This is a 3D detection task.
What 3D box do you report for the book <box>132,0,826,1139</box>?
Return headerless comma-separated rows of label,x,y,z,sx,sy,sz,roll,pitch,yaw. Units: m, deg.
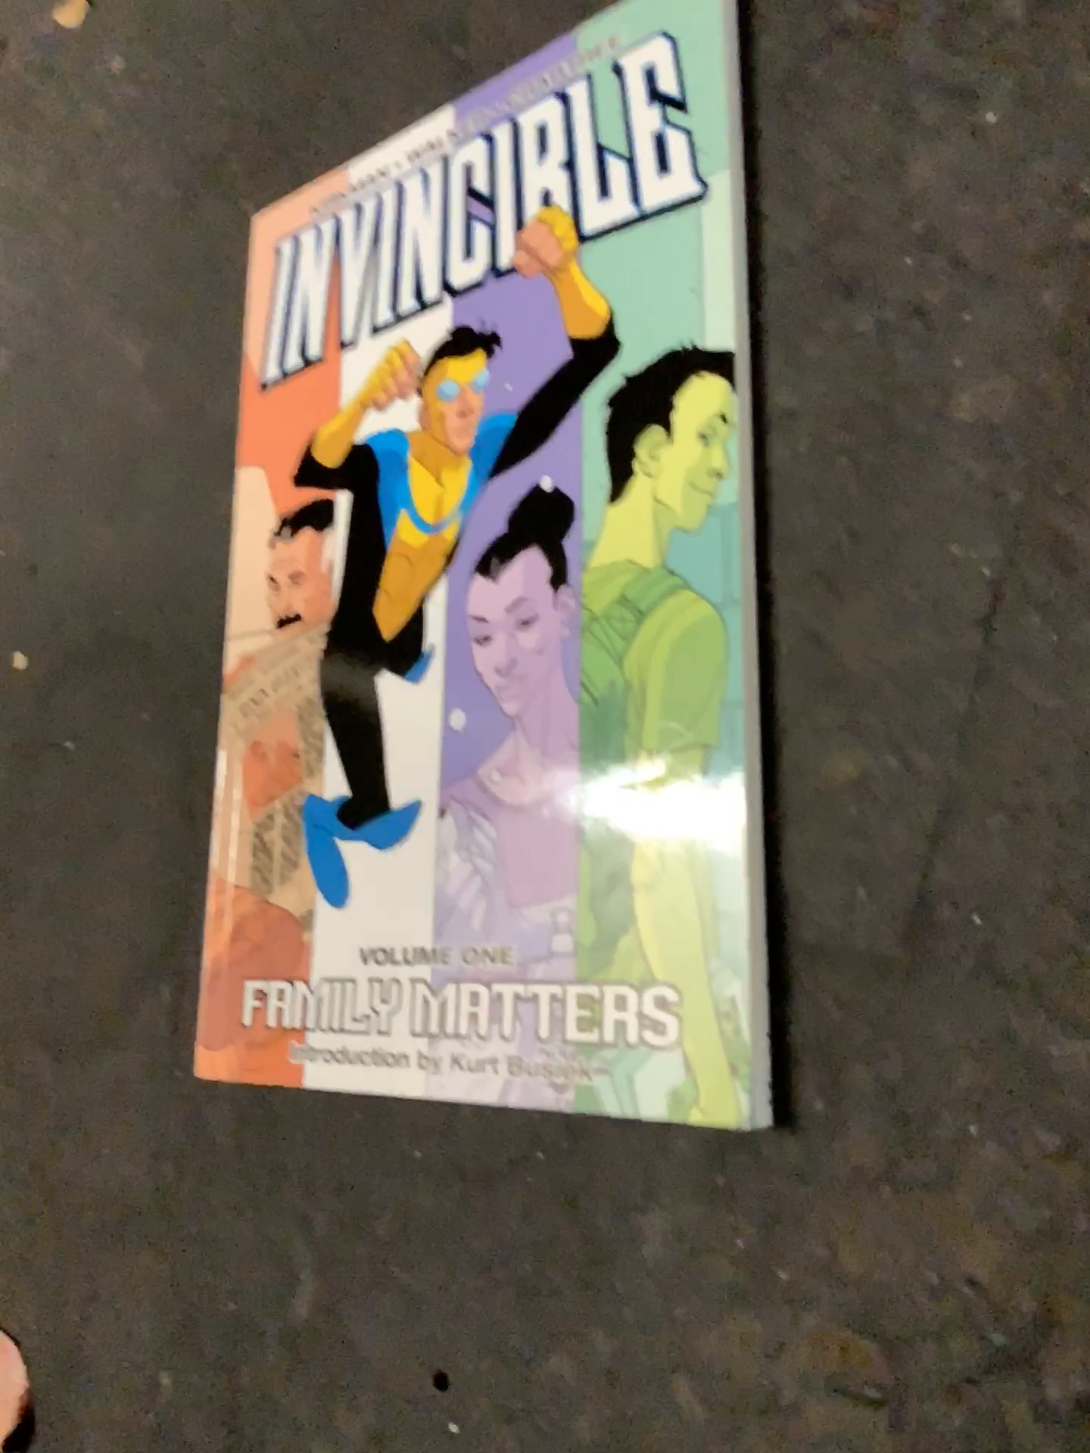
book,-0.024,-0.048,0.295,0.180,0.020,0.270,-10,71,37
